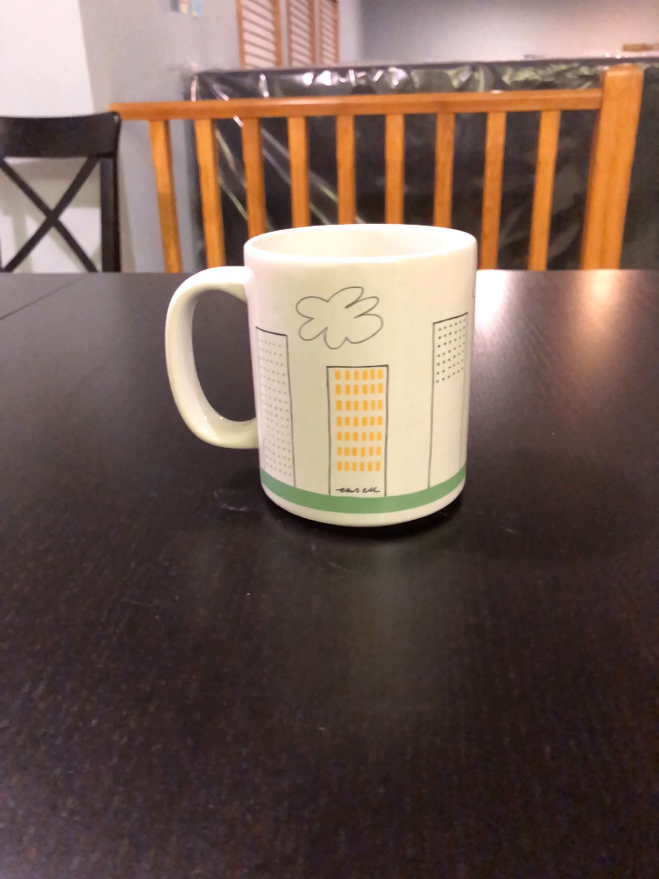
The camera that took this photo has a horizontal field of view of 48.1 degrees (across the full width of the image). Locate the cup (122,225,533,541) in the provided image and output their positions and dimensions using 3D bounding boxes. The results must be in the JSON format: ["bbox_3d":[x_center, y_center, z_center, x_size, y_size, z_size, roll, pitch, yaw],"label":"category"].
[{"bbox_3d":[0.001,-0.027,0.293,0.130,0.100,0.090,-1,23,2],"label":"cup"}]
